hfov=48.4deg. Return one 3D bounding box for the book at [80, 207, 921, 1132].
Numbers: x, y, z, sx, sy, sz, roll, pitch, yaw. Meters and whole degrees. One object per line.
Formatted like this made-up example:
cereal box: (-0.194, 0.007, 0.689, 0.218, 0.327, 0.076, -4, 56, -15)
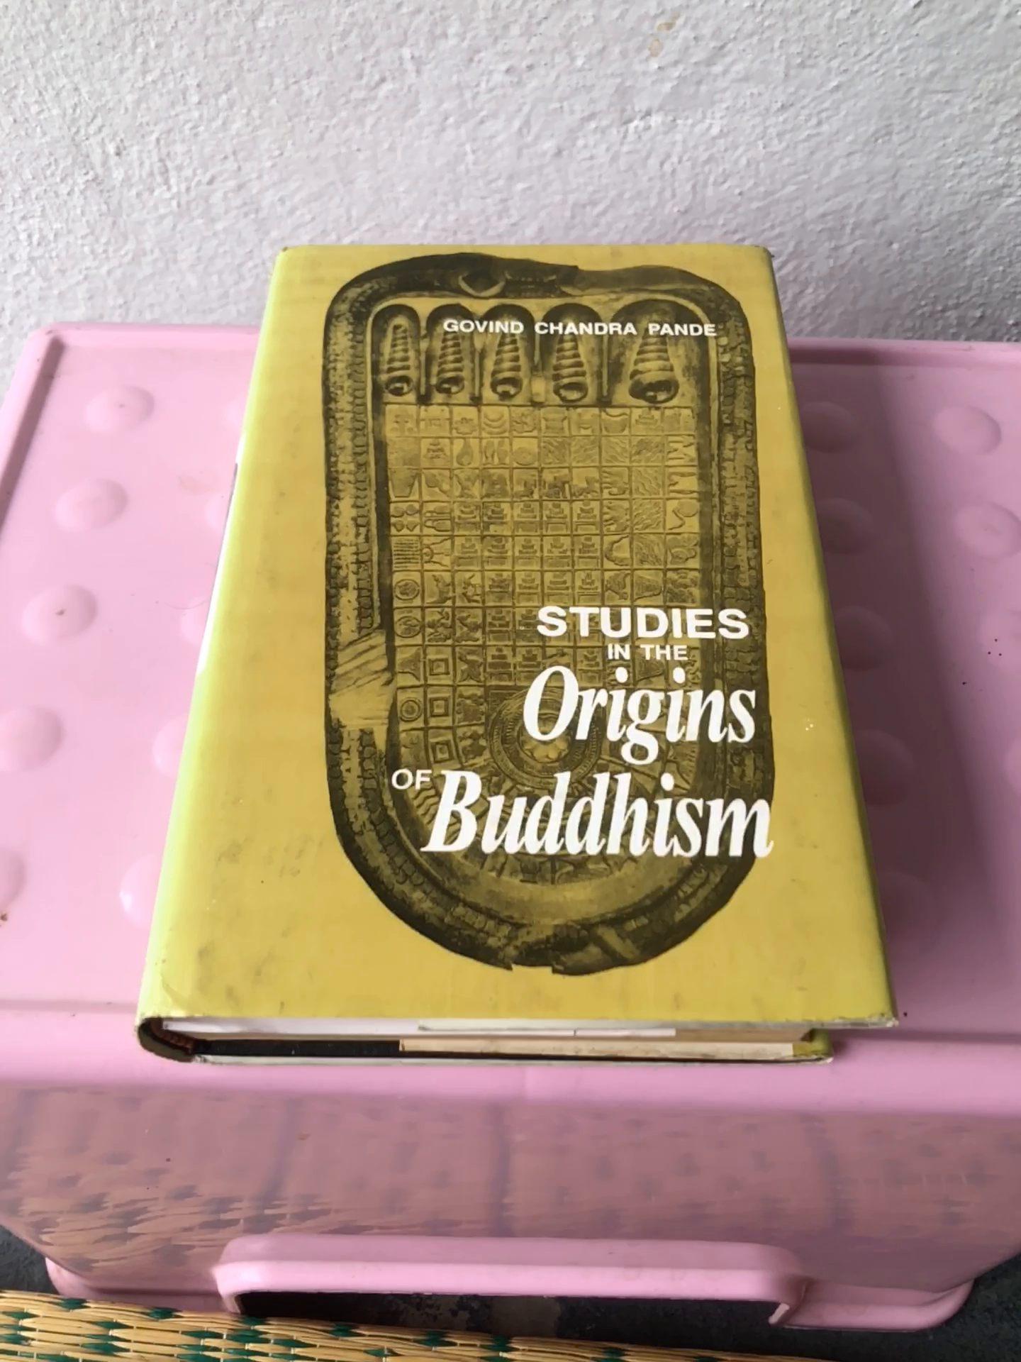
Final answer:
book: (0.000, -0.021, 0.282, 0.150, 0.040, 0.241, 1, 59, 0)
